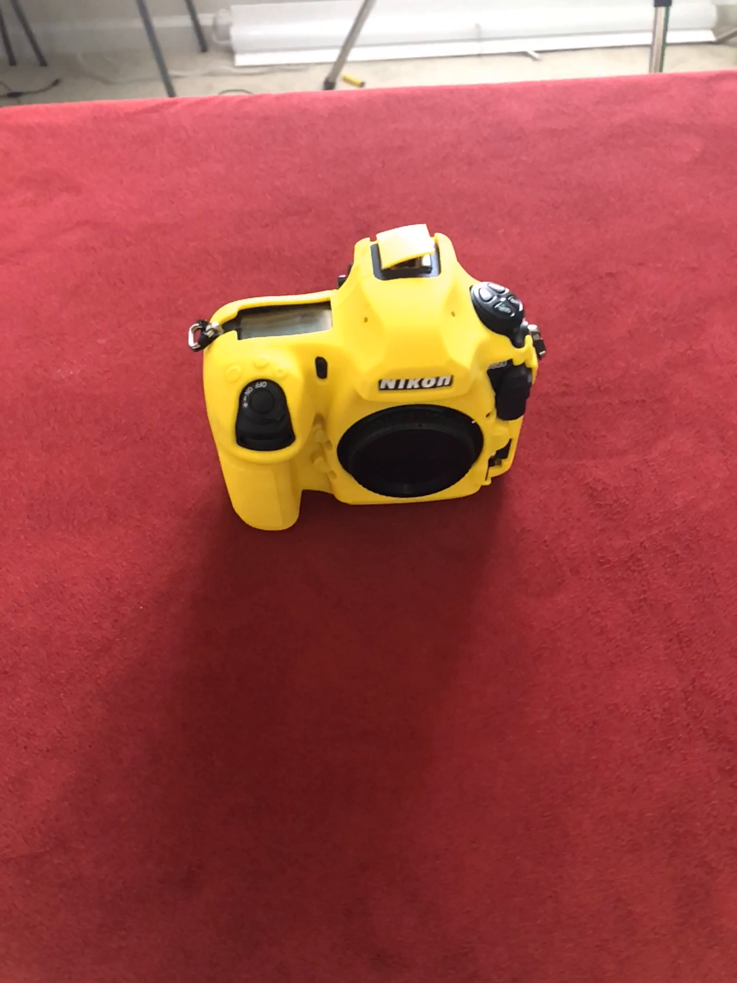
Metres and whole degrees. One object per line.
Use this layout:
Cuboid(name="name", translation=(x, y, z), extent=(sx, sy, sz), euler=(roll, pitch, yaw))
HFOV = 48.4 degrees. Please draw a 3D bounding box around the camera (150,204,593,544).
Cuboid(name="camera", translation=(-0.001, -0.048, 0.366), extent=(0.160, 0.116, 0.082), euler=(-4, 55, -2))
